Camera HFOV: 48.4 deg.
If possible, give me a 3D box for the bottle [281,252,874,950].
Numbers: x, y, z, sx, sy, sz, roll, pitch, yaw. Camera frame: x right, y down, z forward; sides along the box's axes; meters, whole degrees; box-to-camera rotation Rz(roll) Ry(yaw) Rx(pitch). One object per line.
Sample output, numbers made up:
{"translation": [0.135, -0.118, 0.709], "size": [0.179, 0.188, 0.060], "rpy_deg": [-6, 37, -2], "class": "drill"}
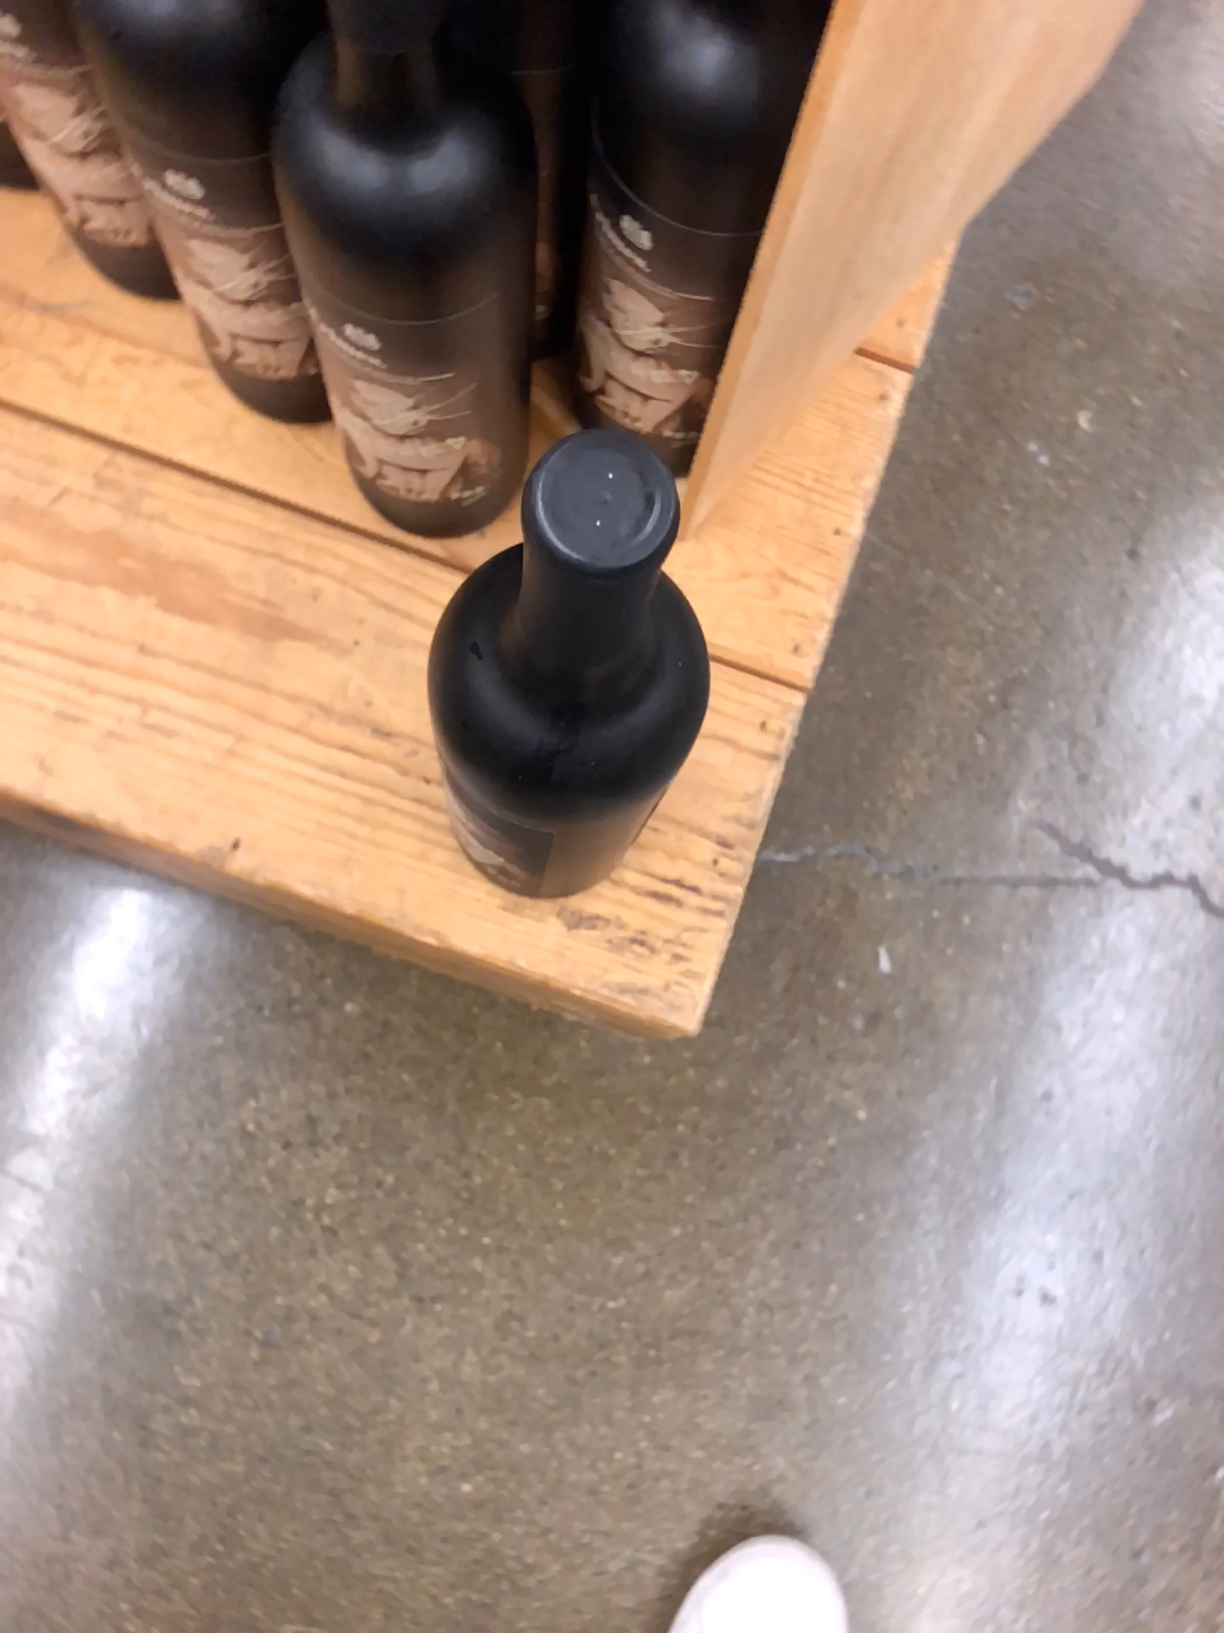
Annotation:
{"translation": [-0.019, -0.026, 0.386], "size": [0.080, 0.300, 0.080], "rpy_deg": [1, 80, -5], "class": "bottle"}
